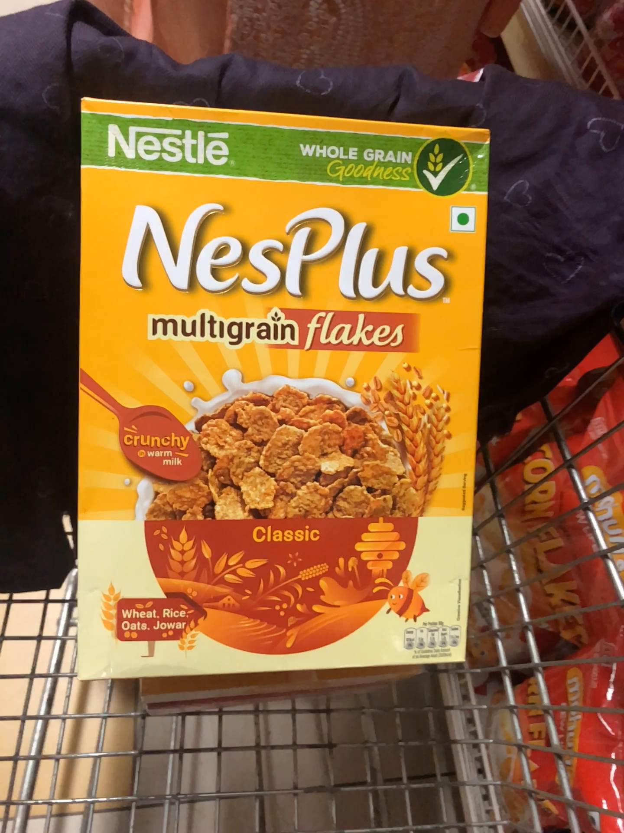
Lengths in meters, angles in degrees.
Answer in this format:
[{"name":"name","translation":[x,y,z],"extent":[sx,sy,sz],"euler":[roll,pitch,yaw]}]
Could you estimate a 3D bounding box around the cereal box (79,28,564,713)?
[{"name":"cereal box","translation":[-0.004,-0.013,0.322],"extent":[0.190,0.080,0.260],"euler":[1,99,-13]}]
